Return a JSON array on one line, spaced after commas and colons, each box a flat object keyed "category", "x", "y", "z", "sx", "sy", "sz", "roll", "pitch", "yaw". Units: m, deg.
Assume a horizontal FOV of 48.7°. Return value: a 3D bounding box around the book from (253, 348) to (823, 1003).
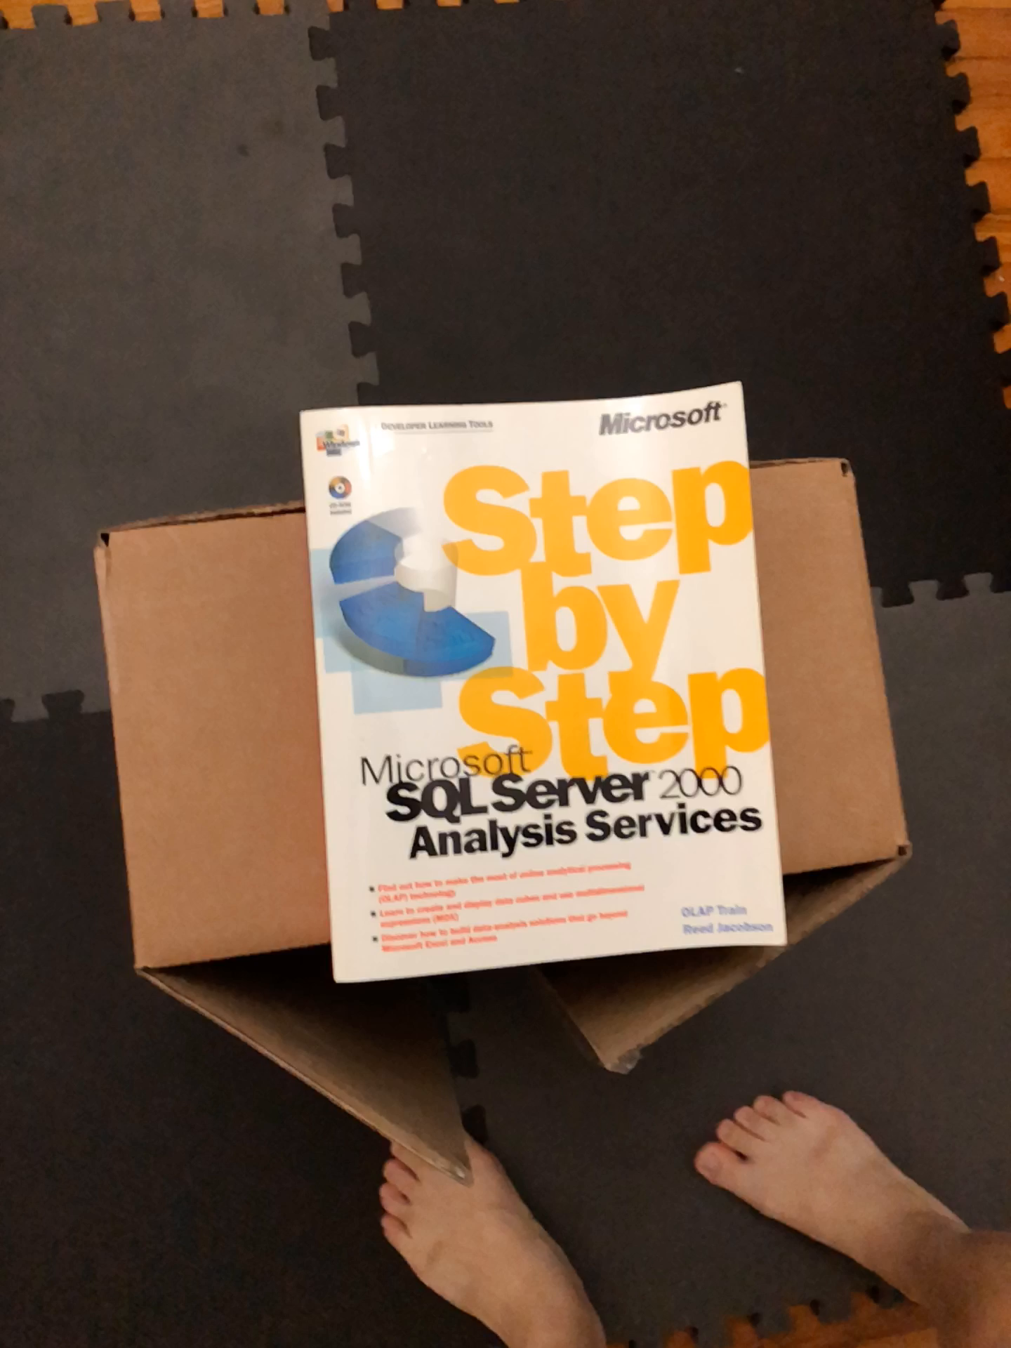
[{"category": "book", "x": 0.013, "y": -0.005, "z": 0.482, "sx": 0.200, "sy": 0.050, "sz": 0.240, "roll": -9, "pitch": 88, "yaw": -11}]
